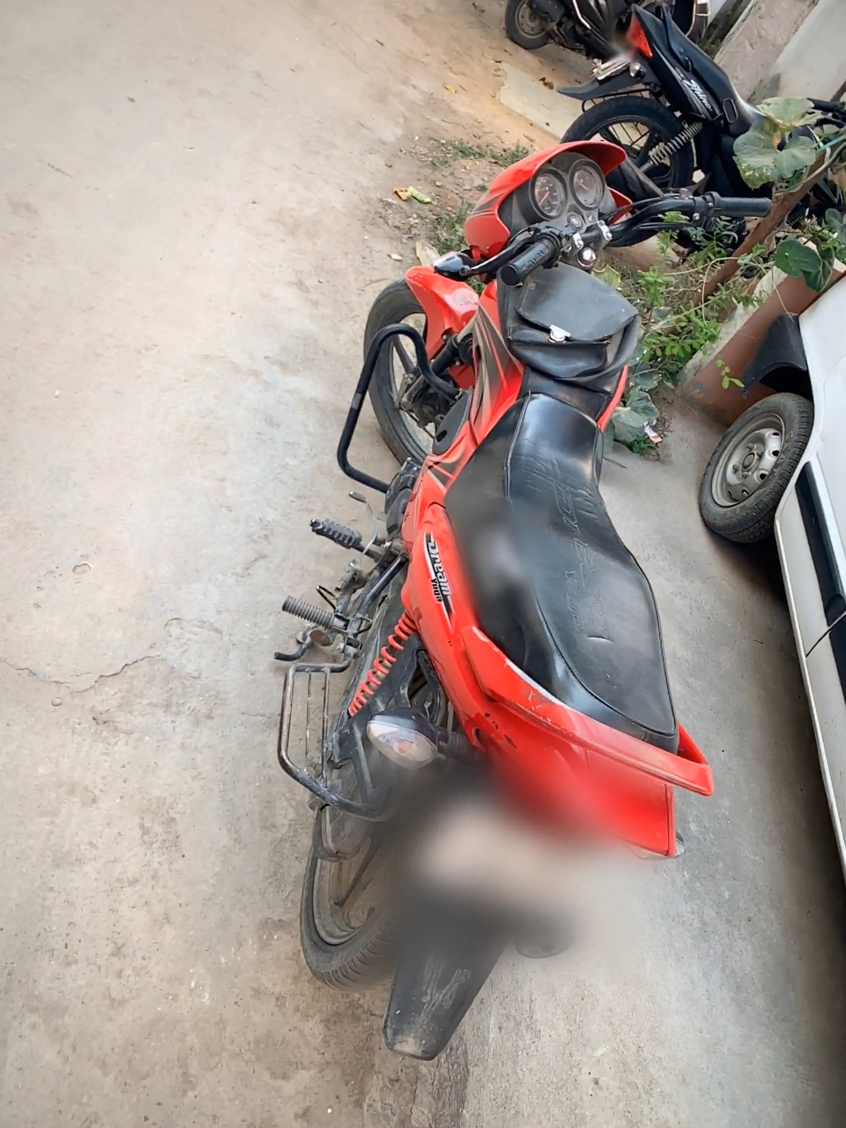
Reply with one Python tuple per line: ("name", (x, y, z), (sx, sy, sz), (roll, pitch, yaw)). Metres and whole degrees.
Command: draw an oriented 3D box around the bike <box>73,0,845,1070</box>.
("bike", (0.029, -0.177, 1.646), (0.760, 1.091, 1.713), (19, 44, -21))
